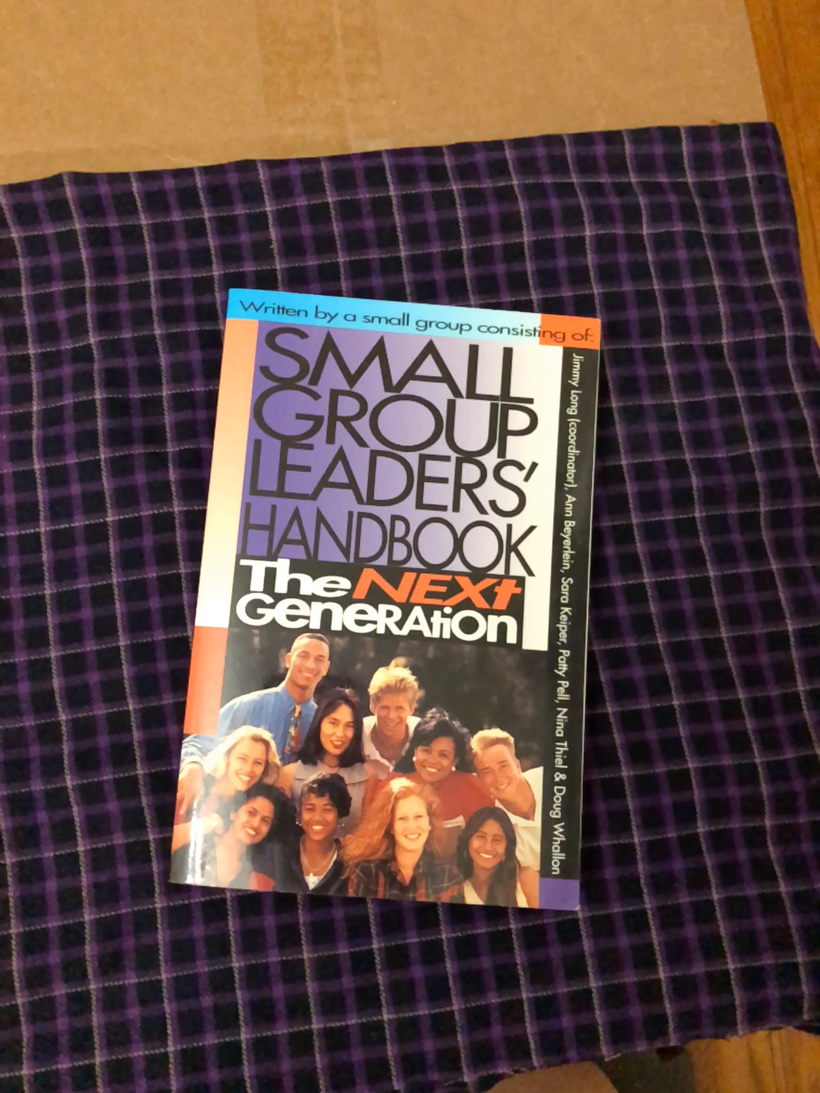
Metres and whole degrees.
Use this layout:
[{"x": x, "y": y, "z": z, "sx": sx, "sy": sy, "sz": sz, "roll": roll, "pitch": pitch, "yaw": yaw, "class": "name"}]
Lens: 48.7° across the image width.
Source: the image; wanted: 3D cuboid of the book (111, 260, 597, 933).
[{"x": -0.016, "y": 0.013, "z": 0.314, "sx": 0.150, "sy": 0.030, "sz": 0.220, "roll": 1, "pitch": 80, "yaw": -4, "class": "book"}]
